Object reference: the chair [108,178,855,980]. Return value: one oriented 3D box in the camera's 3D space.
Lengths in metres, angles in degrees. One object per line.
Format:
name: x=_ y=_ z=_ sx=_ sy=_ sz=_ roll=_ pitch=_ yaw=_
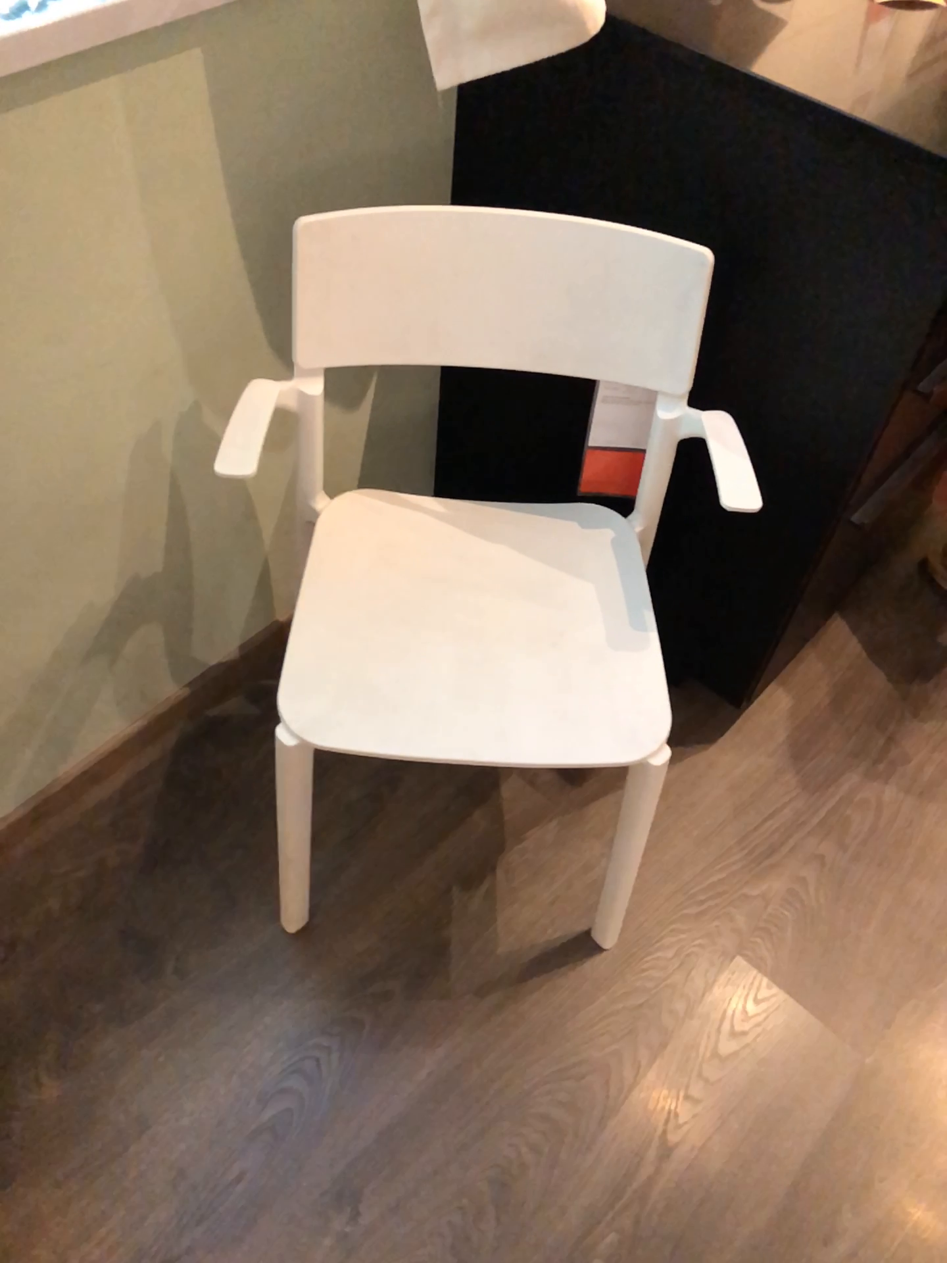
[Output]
chair: x=-0.006 y=-0.018 z=1.254 sx=0.560 sy=0.756 sz=0.583 roll=3 pitch=51 yaw=-2
